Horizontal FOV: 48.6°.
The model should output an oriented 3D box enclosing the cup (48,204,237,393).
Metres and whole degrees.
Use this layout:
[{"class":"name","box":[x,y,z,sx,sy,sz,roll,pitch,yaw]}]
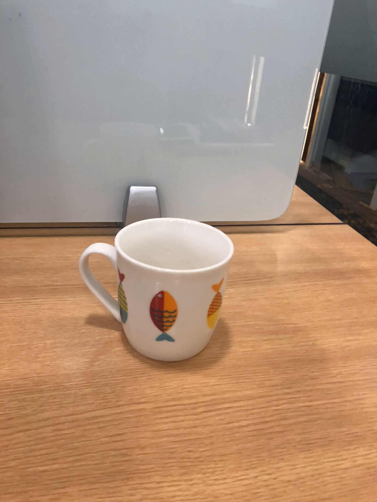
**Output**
[{"class":"cup","box":[-0.027,0.029,0.296,0.110,0.090,0.080,7,27,3]}]
